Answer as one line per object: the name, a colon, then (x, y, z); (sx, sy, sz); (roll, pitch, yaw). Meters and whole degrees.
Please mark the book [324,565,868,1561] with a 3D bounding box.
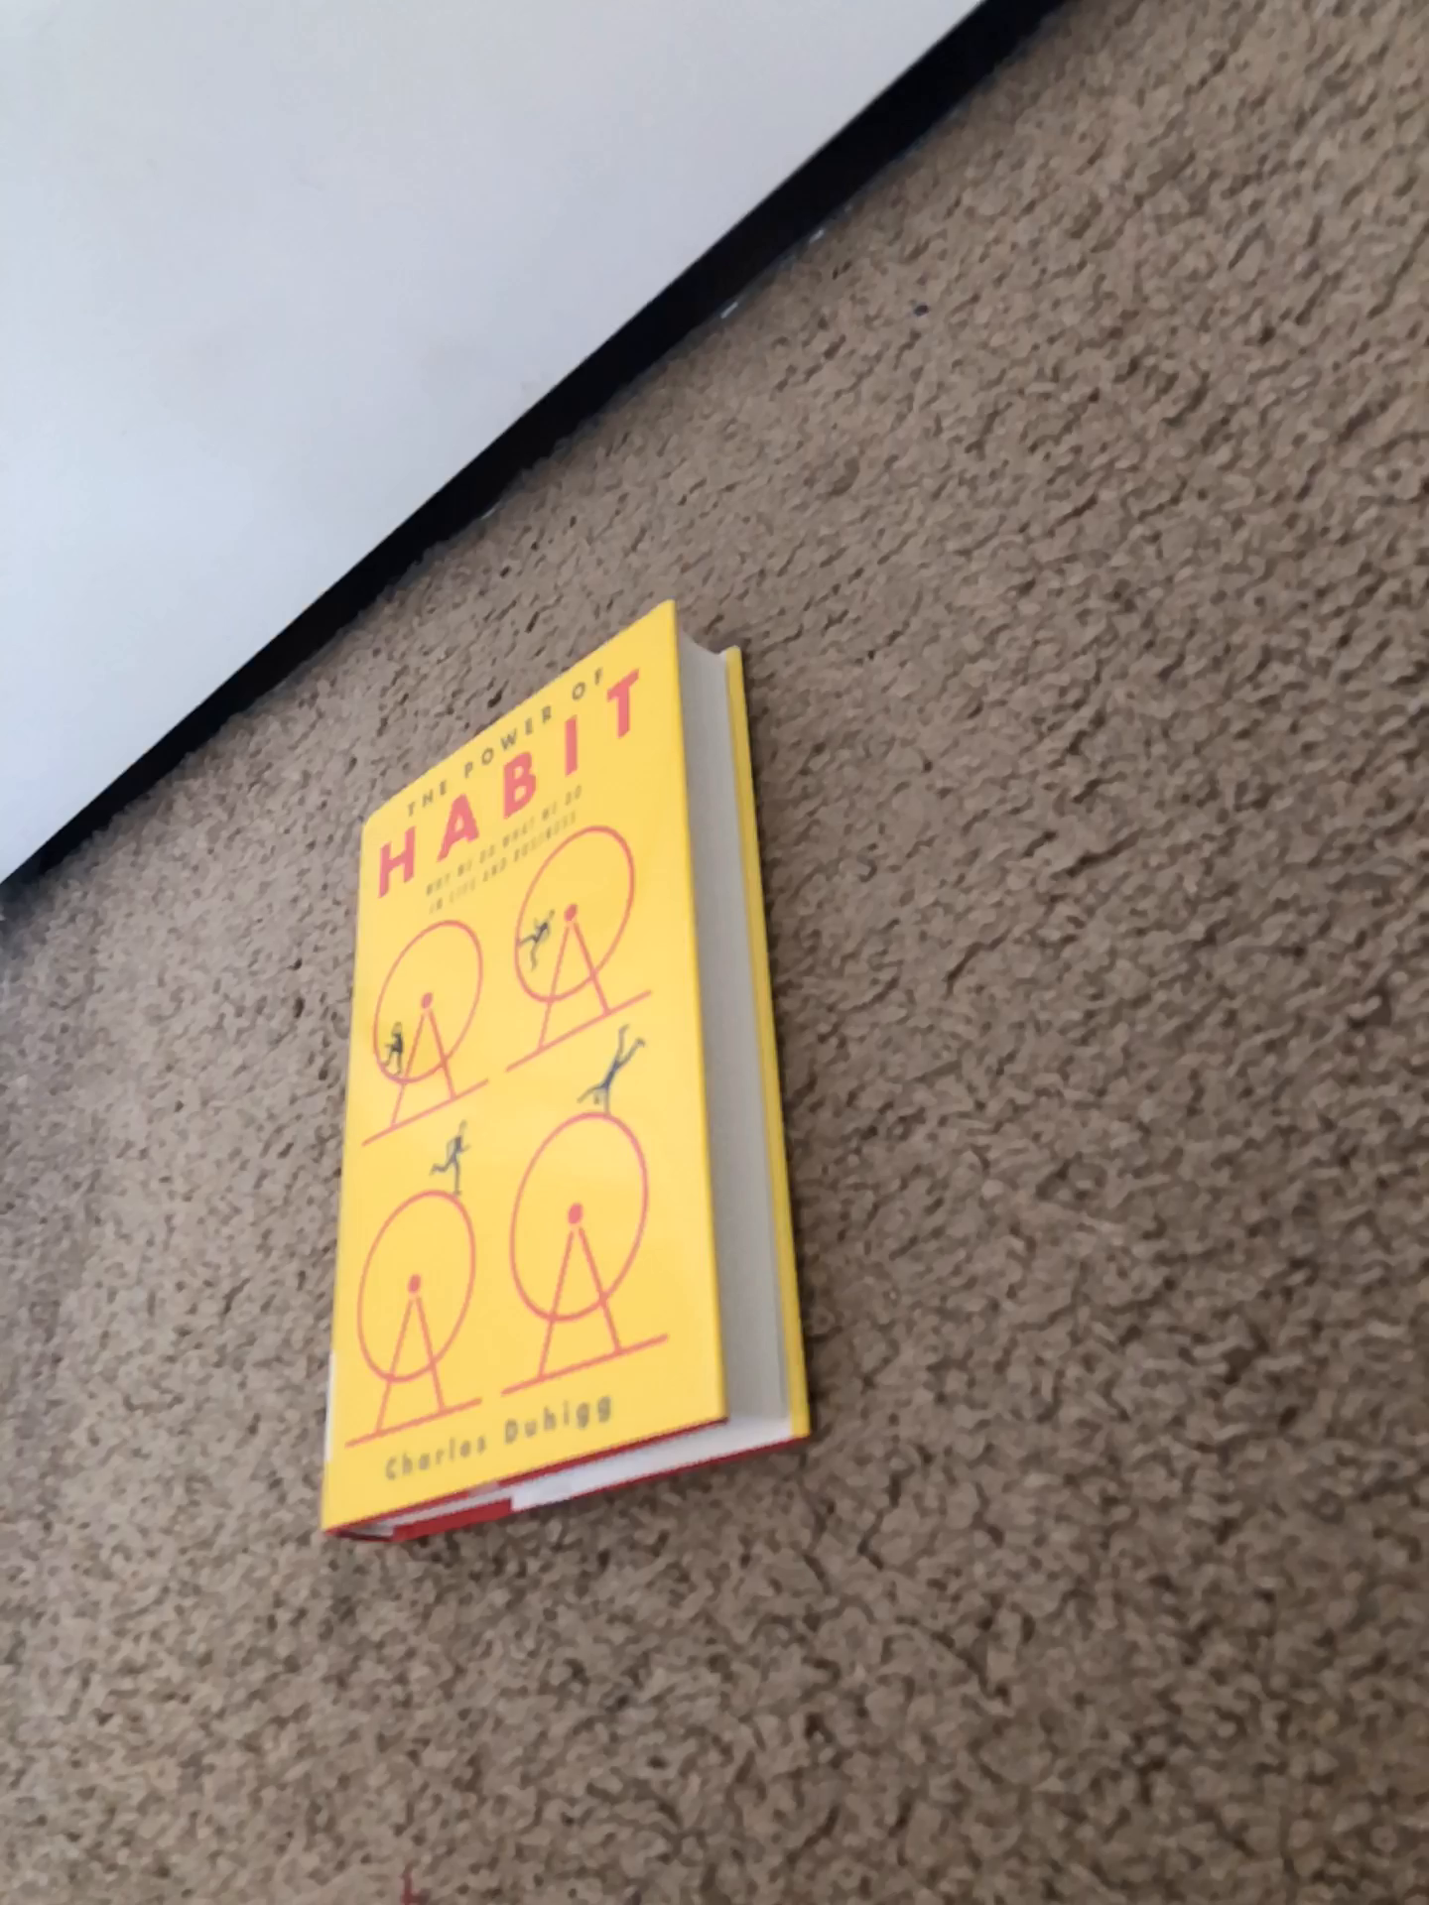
book: (-0.043, 0.033, 0.460); (0.165, 0.040, 0.251); (-28, 52, 37)
